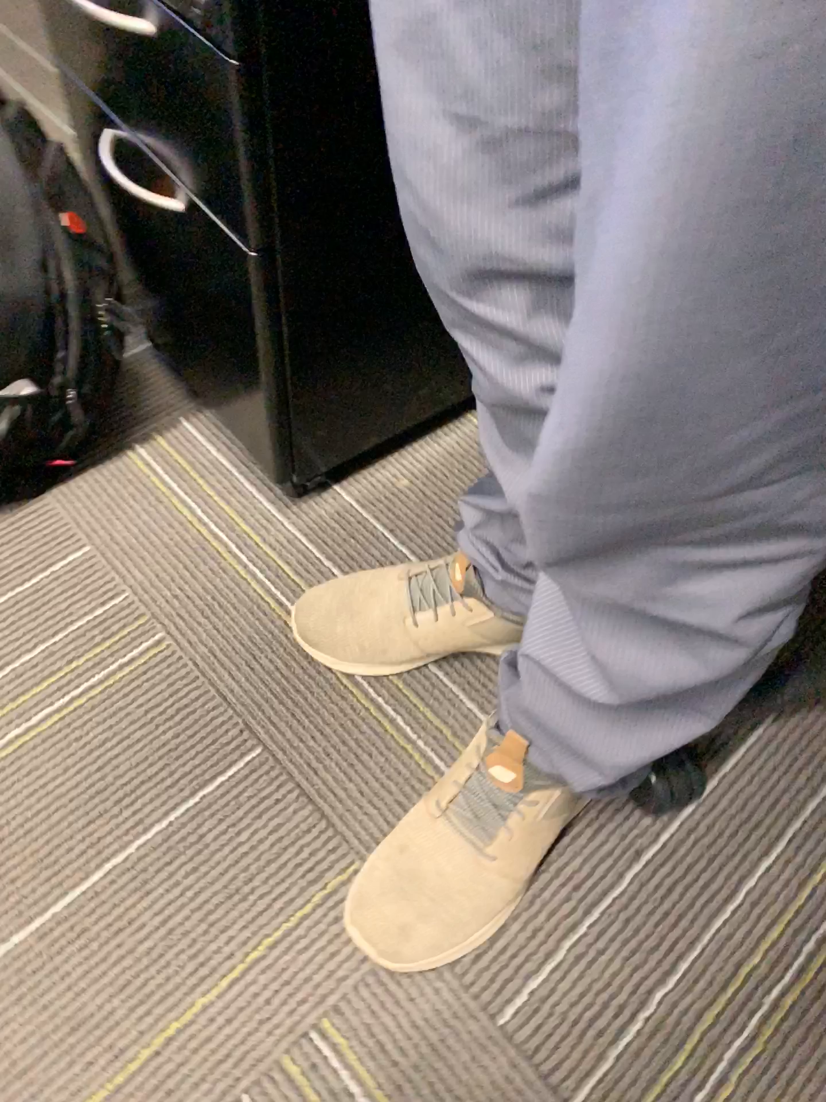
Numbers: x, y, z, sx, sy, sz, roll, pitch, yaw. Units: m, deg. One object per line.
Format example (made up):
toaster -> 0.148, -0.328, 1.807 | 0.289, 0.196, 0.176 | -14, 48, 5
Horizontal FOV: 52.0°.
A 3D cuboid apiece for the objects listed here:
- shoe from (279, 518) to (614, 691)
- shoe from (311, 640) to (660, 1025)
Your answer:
shoe -> 0.026, 0.051, 0.833 | 0.301, 0.098, 0.107 | -5, 55, -8
shoe -> 0.066, 0.234, 0.740 | 0.126, 0.098, 0.302 | 39, 61, 21
